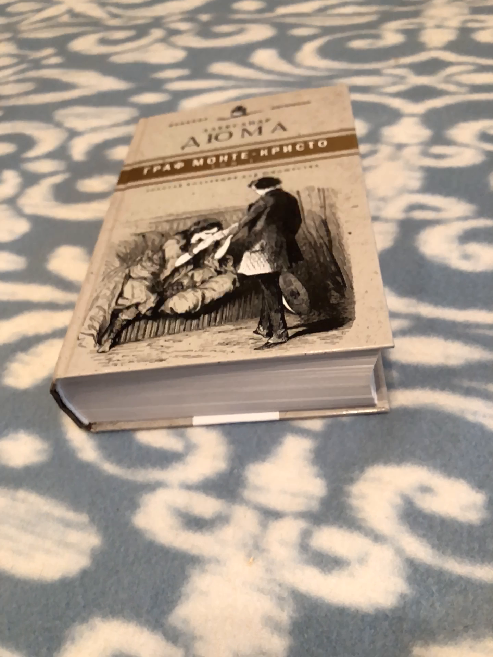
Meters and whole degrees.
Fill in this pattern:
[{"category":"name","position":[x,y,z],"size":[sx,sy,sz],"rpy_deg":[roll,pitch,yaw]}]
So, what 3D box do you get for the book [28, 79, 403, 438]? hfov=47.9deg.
[{"category":"book","position":[-0.008,-0.051,0.285],"size":[0.138,0.040,0.213],"rpy_deg":[-6,47,9]}]
